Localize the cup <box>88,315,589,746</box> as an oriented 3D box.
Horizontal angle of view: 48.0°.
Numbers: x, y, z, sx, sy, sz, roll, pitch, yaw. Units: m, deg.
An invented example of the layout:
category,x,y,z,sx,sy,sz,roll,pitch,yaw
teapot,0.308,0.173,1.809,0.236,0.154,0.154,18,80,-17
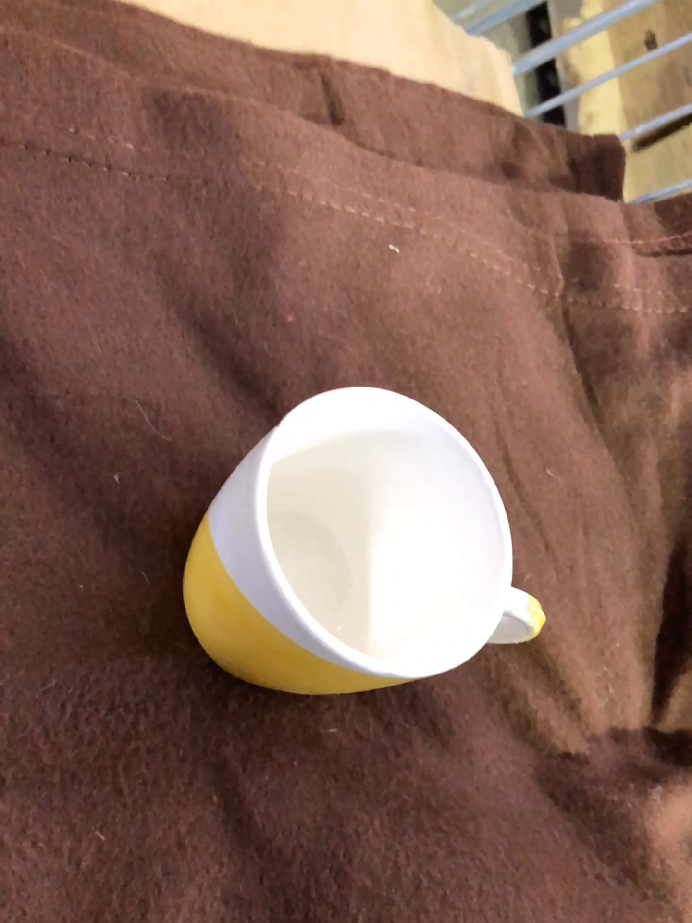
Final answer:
category,x,y,z,sx,sy,sz,roll,pitch,yaw
cup,0.001,0.023,0.180,0.090,0.060,0.060,22,59,-23
